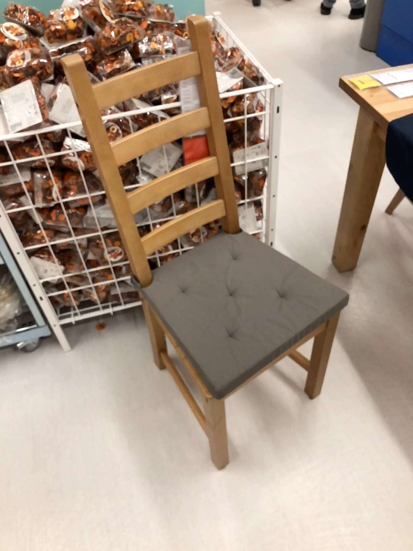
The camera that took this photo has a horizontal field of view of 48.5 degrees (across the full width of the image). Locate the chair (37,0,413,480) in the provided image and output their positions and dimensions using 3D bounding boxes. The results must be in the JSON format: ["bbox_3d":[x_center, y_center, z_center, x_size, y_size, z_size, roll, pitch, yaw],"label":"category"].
[{"bbox_3d":[0.055,-0.029,1.047,0.431,0.914,0.472,-30,51,-22],"label":"chair"}]
